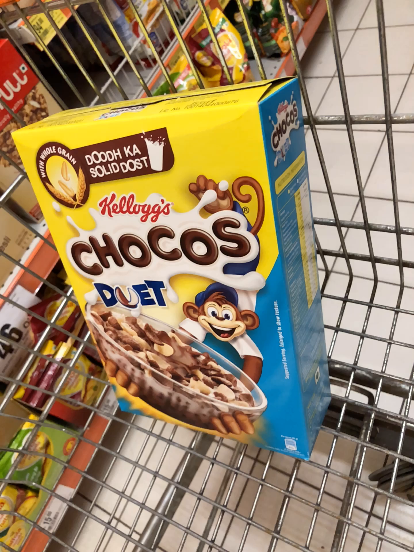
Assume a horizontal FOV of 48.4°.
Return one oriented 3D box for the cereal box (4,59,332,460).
[{"bbox_3d":[-0.014,-0.002,0.344,0.180,0.259,0.070,5,32,29],"label":"cereal box"}]
